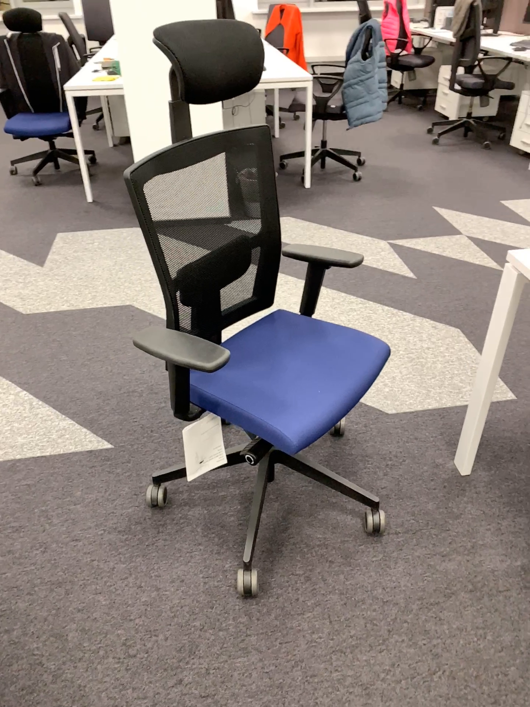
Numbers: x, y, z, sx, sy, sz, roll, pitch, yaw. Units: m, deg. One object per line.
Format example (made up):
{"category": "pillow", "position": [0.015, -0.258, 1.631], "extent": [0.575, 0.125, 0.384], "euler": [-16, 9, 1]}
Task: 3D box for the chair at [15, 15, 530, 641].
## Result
{"category": "chair", "position": [0.044, -0.095, 1.373], "extent": [0.672, 1.243, 0.733], "euler": [28, 44, 35]}
